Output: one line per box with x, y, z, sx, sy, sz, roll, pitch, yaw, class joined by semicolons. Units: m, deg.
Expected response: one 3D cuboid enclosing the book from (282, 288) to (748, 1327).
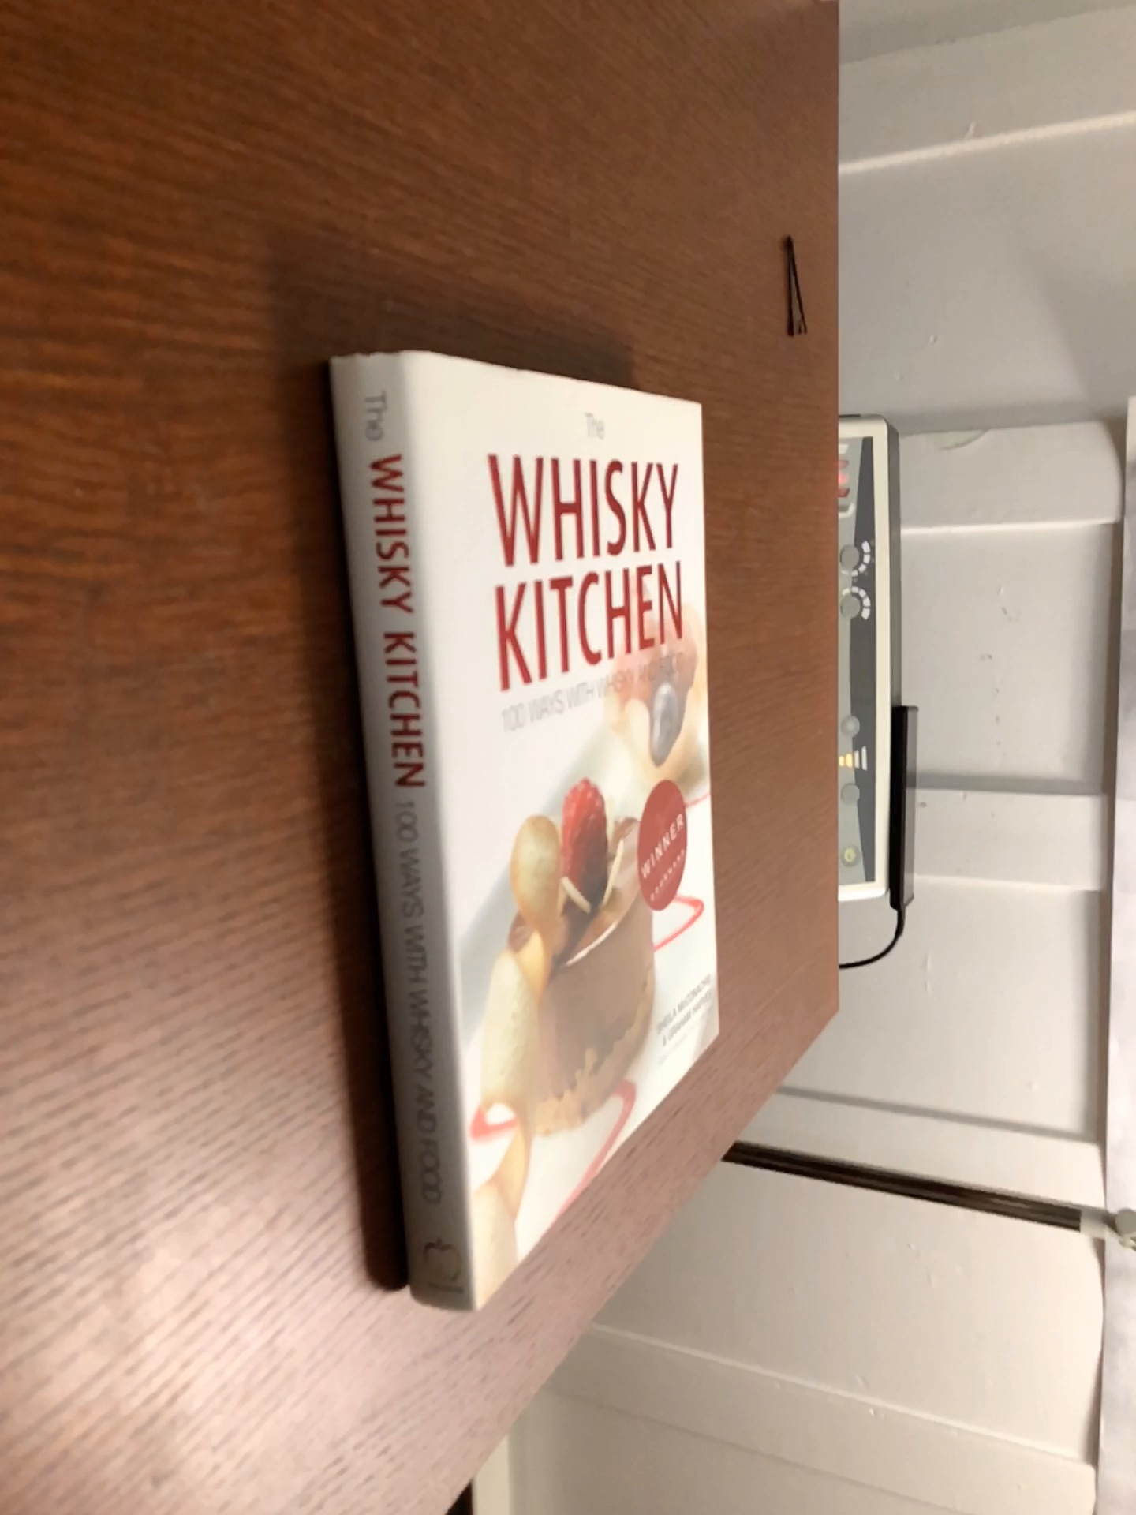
0.003;0.001;0.420;0.221;0.040;0.270;-23;113;-61;book
